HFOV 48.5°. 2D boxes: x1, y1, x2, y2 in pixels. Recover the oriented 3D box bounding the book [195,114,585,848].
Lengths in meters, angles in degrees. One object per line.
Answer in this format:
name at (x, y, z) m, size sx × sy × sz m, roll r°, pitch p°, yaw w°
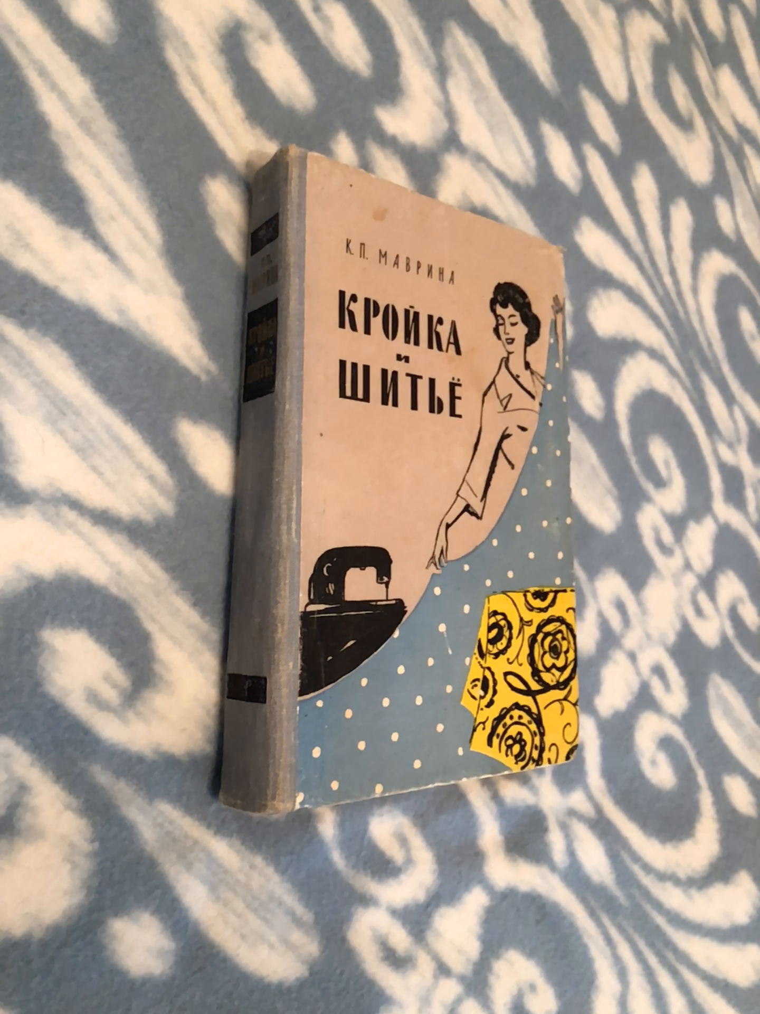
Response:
book at (0.011, -0.007, 0.323) m, size 0.152 × 0.037 × 0.231 m, roll 5°, pitch 81°, yaw -37°
